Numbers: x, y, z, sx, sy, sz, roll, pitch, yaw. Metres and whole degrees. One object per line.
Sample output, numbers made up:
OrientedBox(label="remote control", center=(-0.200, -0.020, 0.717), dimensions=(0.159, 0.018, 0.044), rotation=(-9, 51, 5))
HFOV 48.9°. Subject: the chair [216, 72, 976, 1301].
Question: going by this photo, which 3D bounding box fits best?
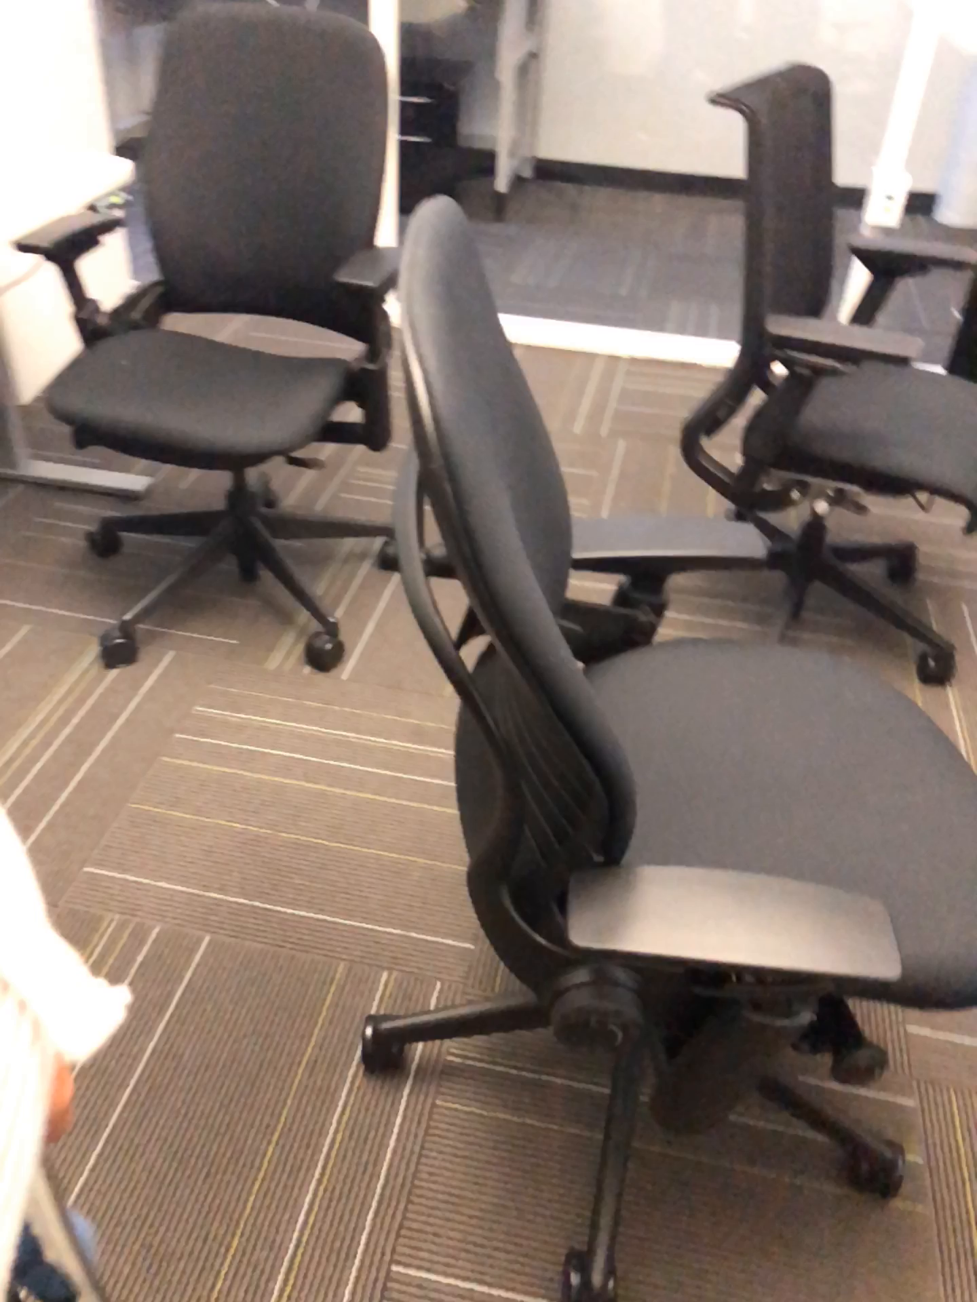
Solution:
OrientedBox(label="chair", center=(0.263, 0.065, 1.110), dimensions=(0.830, 1.035, 0.734), rotation=(2, 36, -2))
